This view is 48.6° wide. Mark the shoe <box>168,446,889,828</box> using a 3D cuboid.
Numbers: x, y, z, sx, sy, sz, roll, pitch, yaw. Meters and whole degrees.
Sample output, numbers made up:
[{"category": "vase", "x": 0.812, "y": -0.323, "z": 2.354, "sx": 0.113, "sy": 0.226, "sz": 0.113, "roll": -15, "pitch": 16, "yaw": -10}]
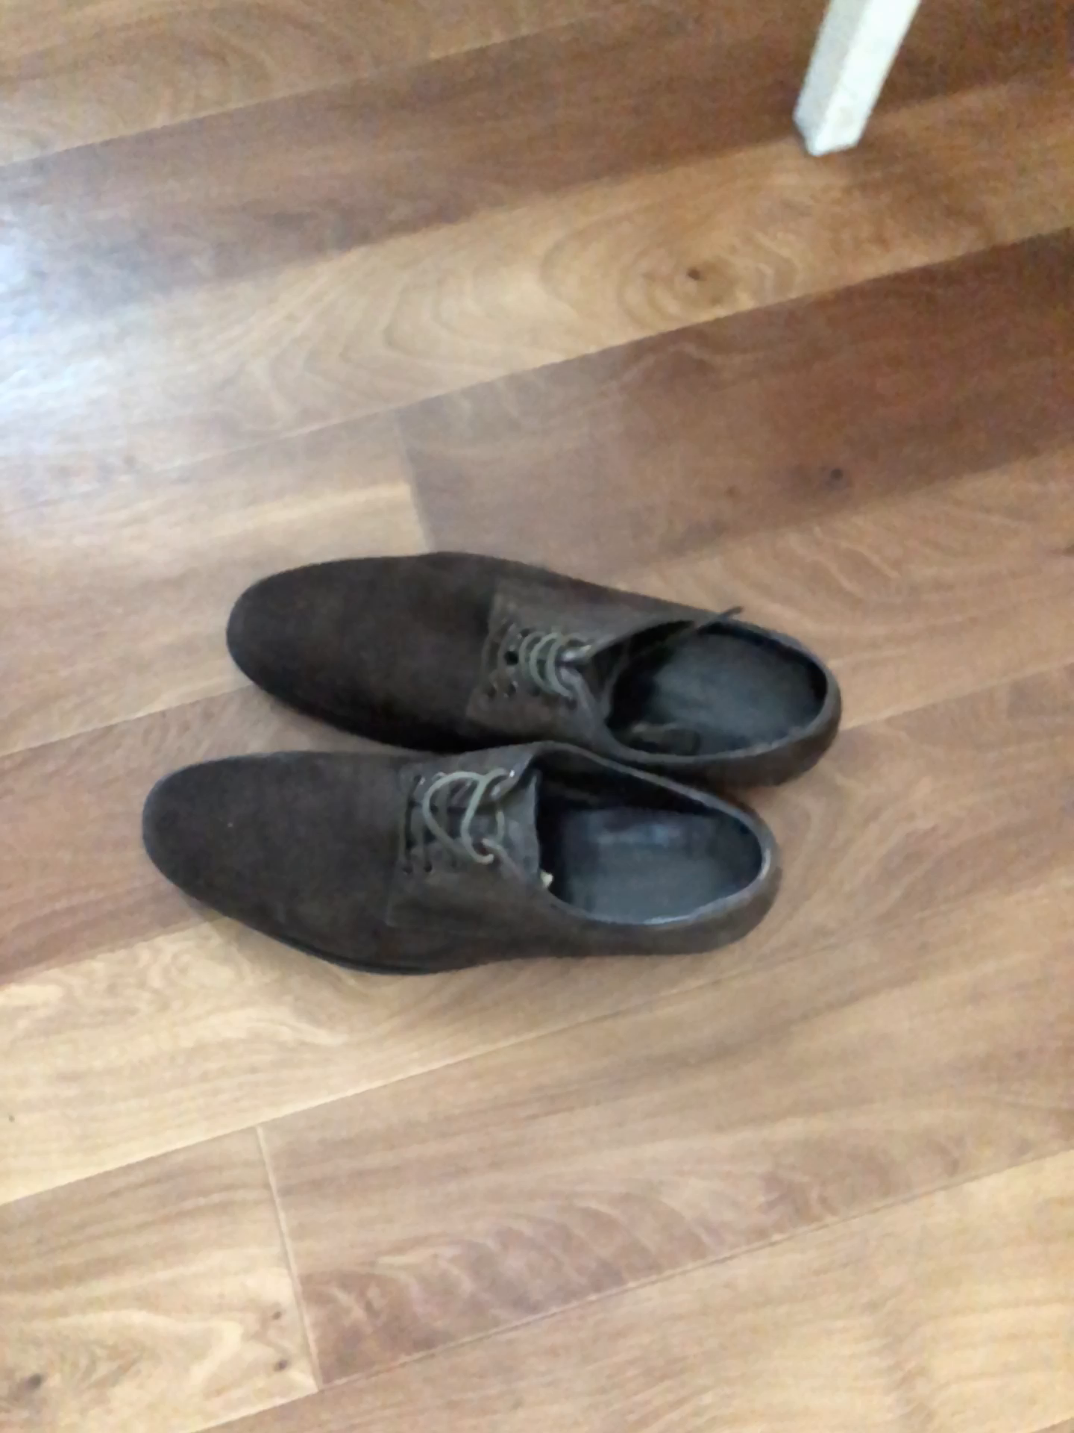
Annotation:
[{"category": "shoe", "x": -0.001, "y": -0.034, "z": 0.583, "sx": 0.310, "sy": 0.100, "sz": 0.120, "roll": 8, "pitch": 76, "yaw": 1}]

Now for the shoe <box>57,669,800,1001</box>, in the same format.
[{"category": "shoe", "x": -0.043, "y": 0.060, "z": 0.562, "sx": 0.310, "sy": 0.100, "sz": 0.120, "roll": 4, "pitch": 76, "yaw": 0}]
